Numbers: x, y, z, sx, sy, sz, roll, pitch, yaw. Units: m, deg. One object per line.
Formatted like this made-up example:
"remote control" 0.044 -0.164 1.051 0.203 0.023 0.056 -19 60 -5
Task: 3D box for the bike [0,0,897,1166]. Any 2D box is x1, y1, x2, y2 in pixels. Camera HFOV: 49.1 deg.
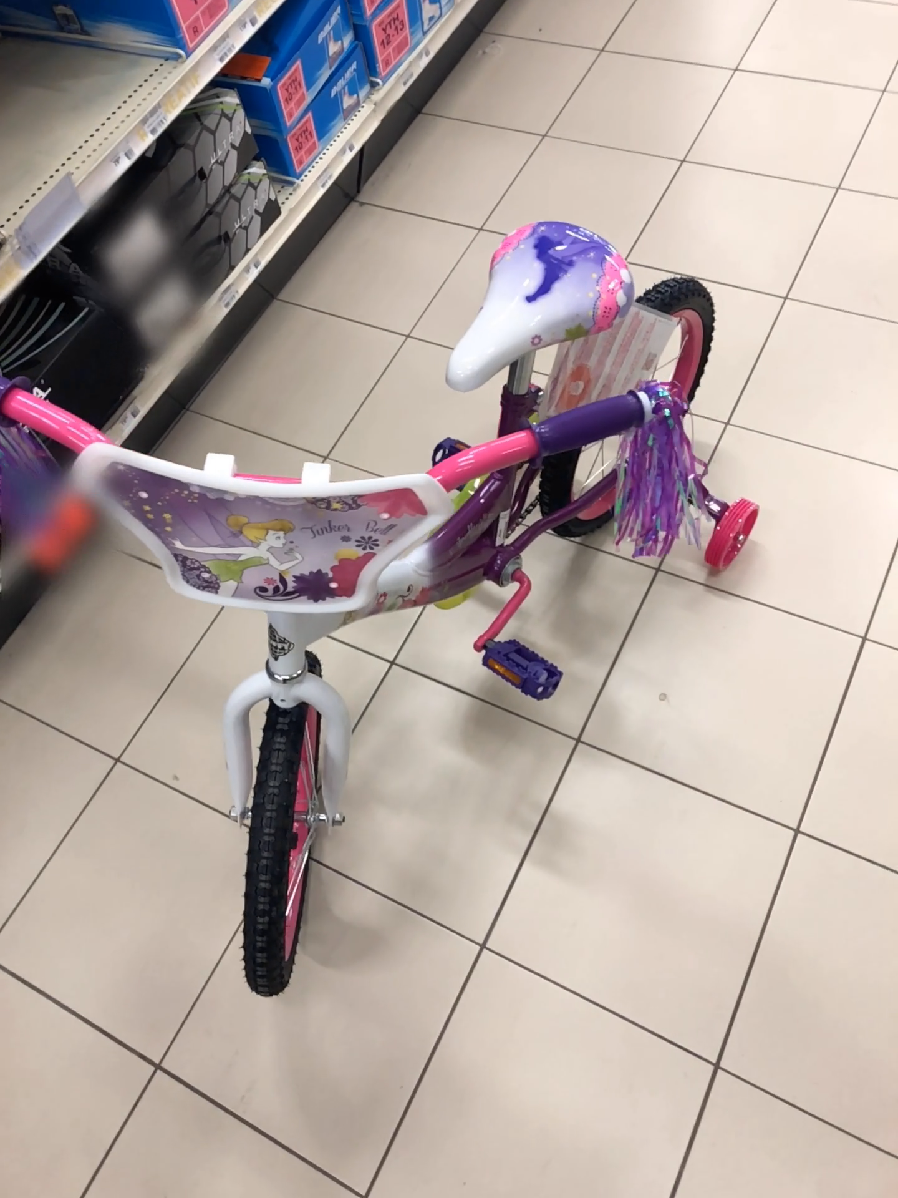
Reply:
"bike" 0.043 -0.109 1.057 0.596 0.810 1.068 26 67 22
